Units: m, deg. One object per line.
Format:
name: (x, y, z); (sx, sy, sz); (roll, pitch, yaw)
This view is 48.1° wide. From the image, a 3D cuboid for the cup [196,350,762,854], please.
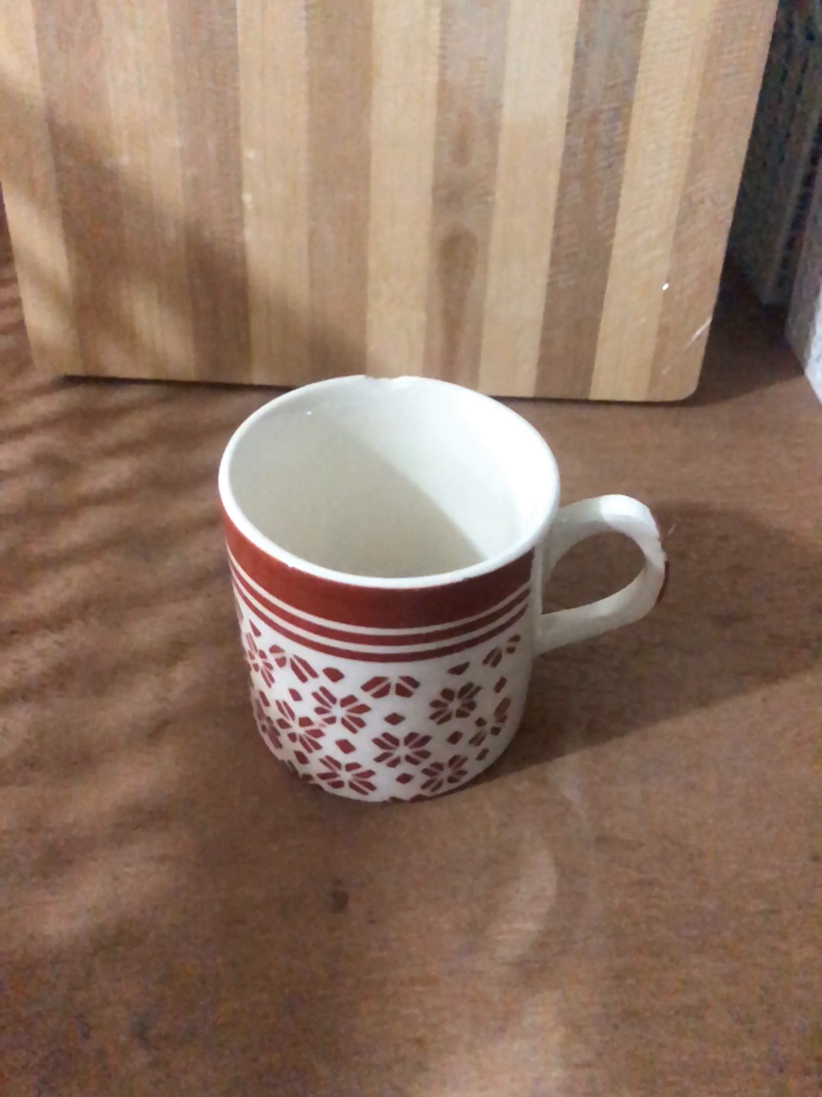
cup: (0.008, 0.012, 0.193); (0.090, 0.080, 0.060); (-4, 44, -6)
